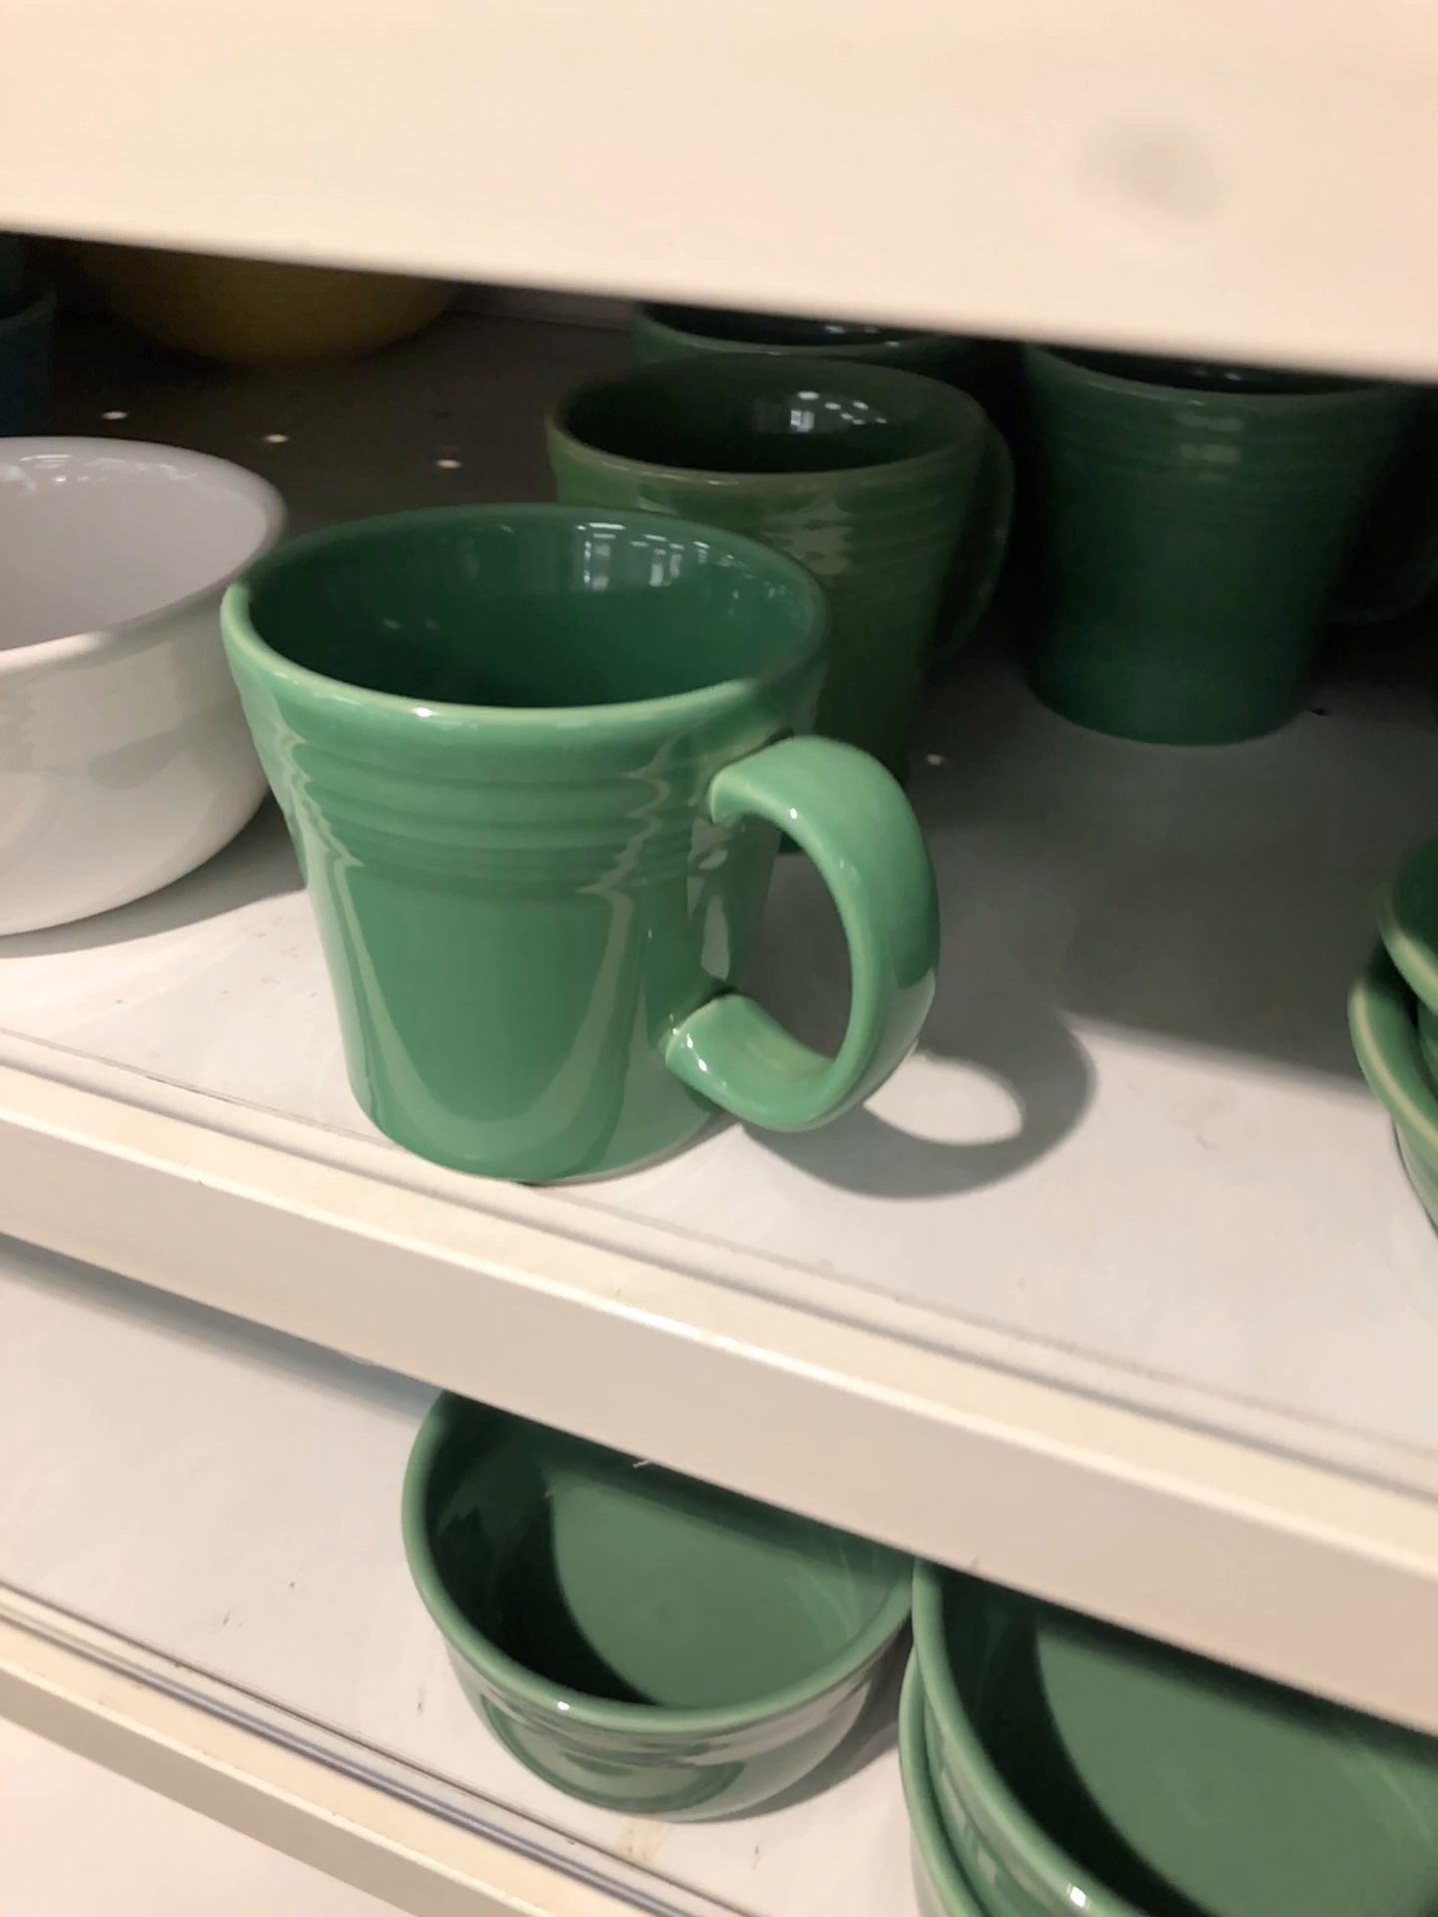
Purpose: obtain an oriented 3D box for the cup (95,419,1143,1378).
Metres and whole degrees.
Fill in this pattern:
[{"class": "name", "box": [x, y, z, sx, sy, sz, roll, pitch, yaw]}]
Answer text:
[{"class": "cup", "box": [-0.016, -0.022, 0.291, 0.134, 0.098, 0.107, 24, 42, 29]}]
